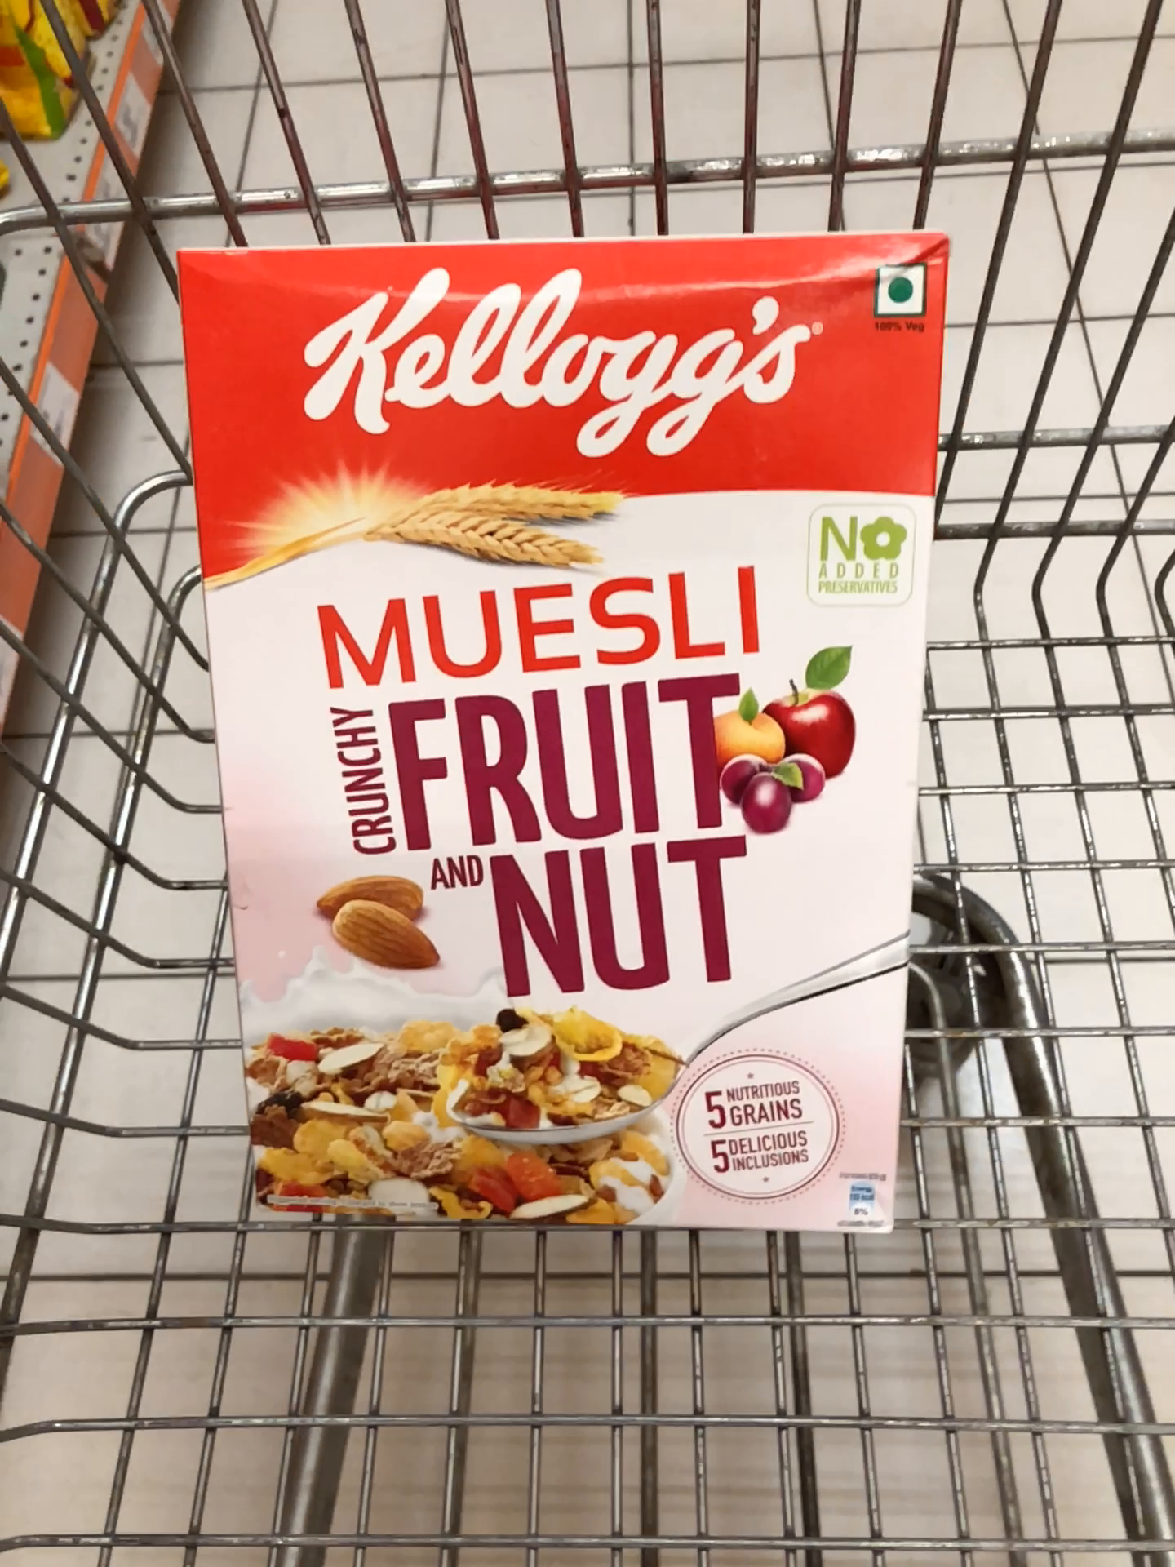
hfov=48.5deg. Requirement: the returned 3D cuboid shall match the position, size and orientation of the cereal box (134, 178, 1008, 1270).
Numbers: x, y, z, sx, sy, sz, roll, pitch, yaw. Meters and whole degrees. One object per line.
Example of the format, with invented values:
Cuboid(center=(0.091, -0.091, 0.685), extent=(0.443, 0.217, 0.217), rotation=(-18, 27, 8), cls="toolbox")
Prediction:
Cuboid(center=(-0.003, -0.011, 0.354), extent=(0.190, 0.070, 0.269), rotation=(1, 107, 5), cls="cereal box")
